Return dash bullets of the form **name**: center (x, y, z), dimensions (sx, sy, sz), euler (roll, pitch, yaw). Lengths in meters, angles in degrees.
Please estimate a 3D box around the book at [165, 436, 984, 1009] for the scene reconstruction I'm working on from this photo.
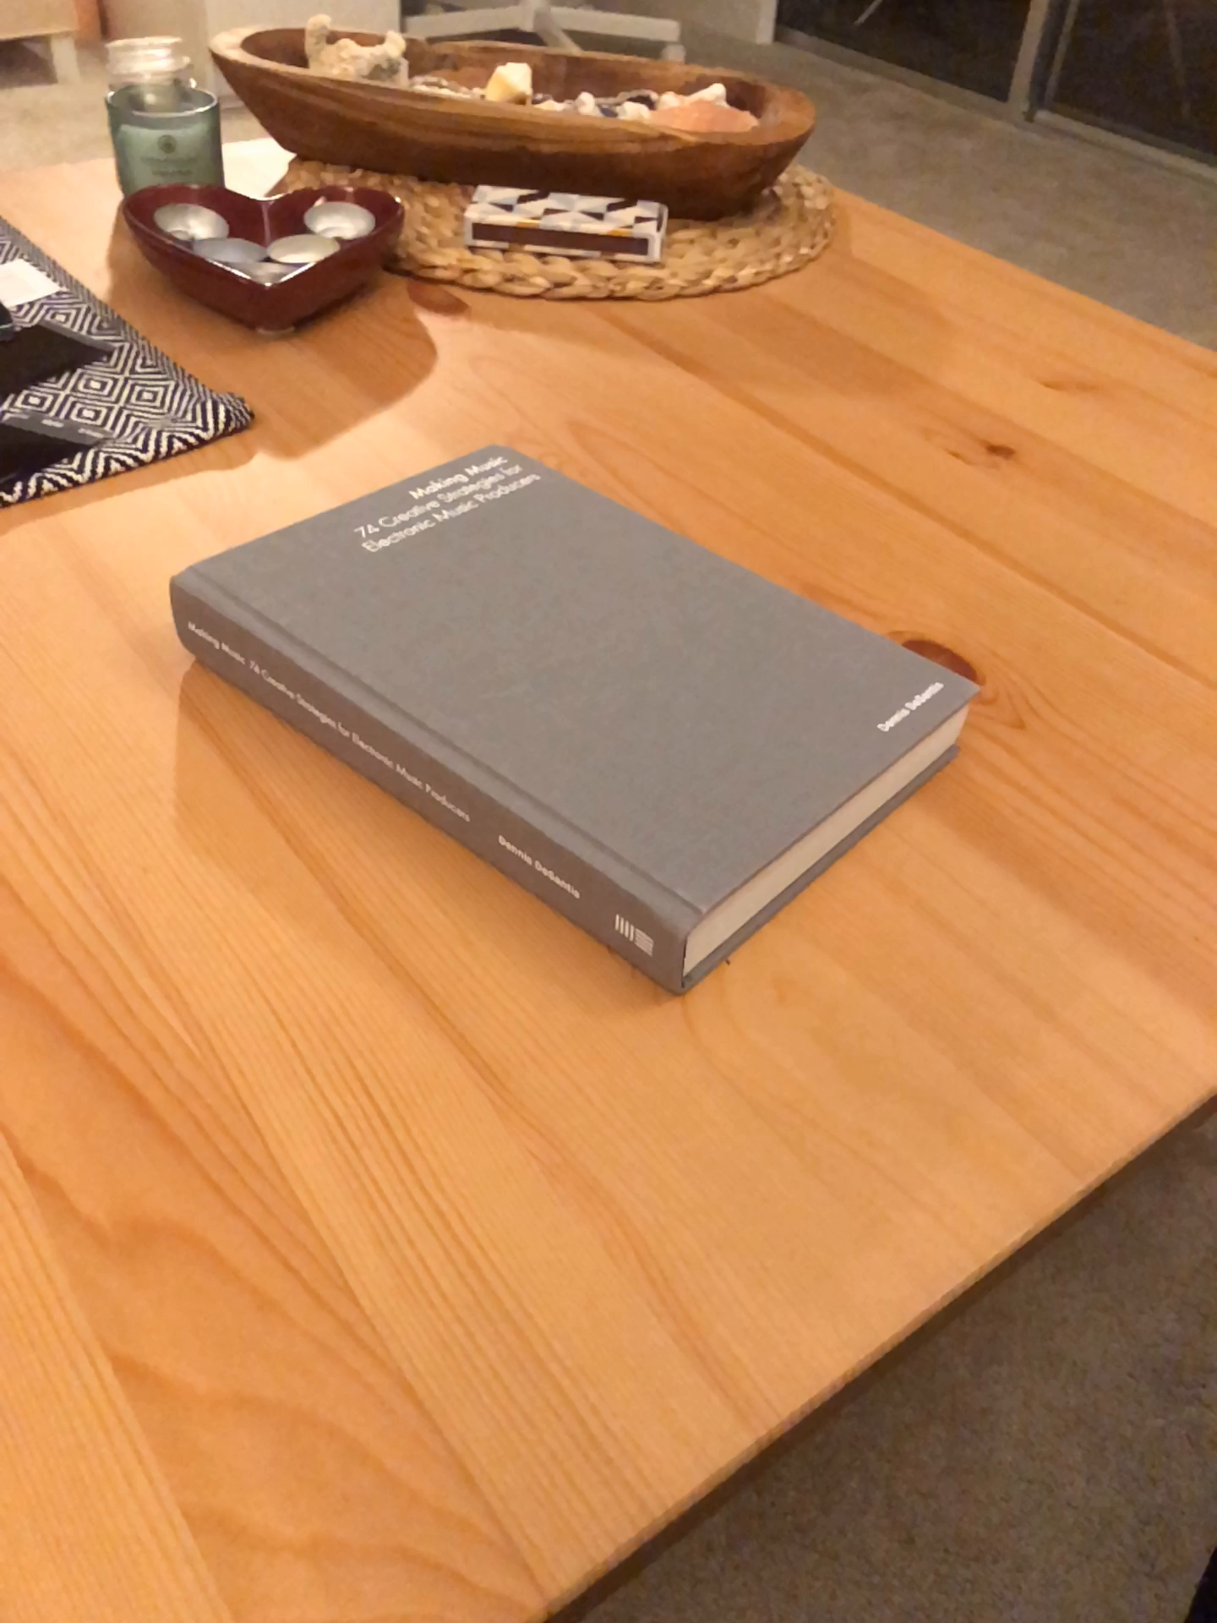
- **book**: center (-0.013, -0.050, 0.467), dimensions (0.227, 0.030, 0.167), euler (34, 49, 27)
